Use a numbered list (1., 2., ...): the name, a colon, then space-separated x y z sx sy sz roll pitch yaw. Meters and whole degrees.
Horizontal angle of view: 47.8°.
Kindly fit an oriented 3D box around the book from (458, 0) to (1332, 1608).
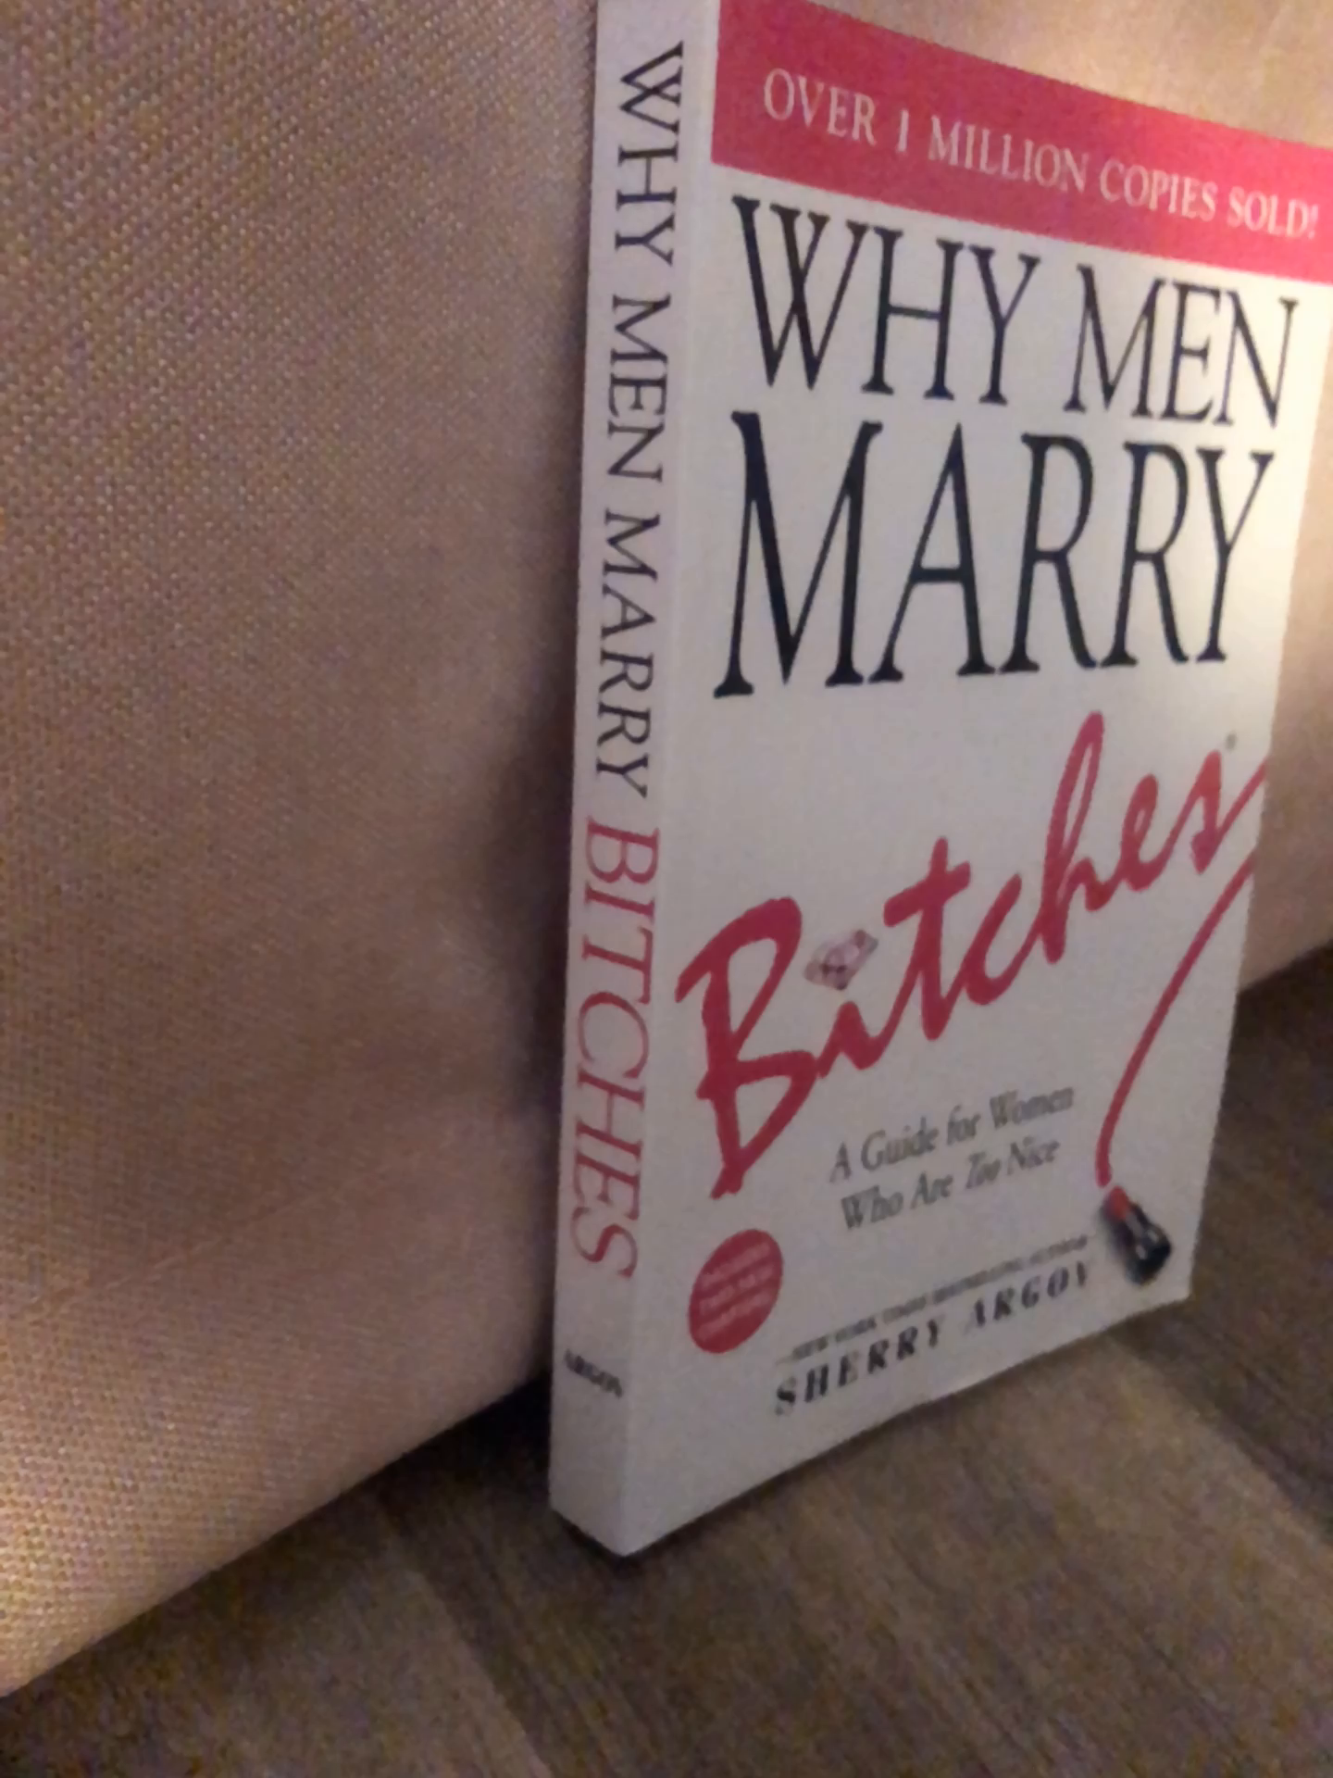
1. book: 0.044 -0.013 0.252 0.151 0.219 0.037 -8 20 -37
